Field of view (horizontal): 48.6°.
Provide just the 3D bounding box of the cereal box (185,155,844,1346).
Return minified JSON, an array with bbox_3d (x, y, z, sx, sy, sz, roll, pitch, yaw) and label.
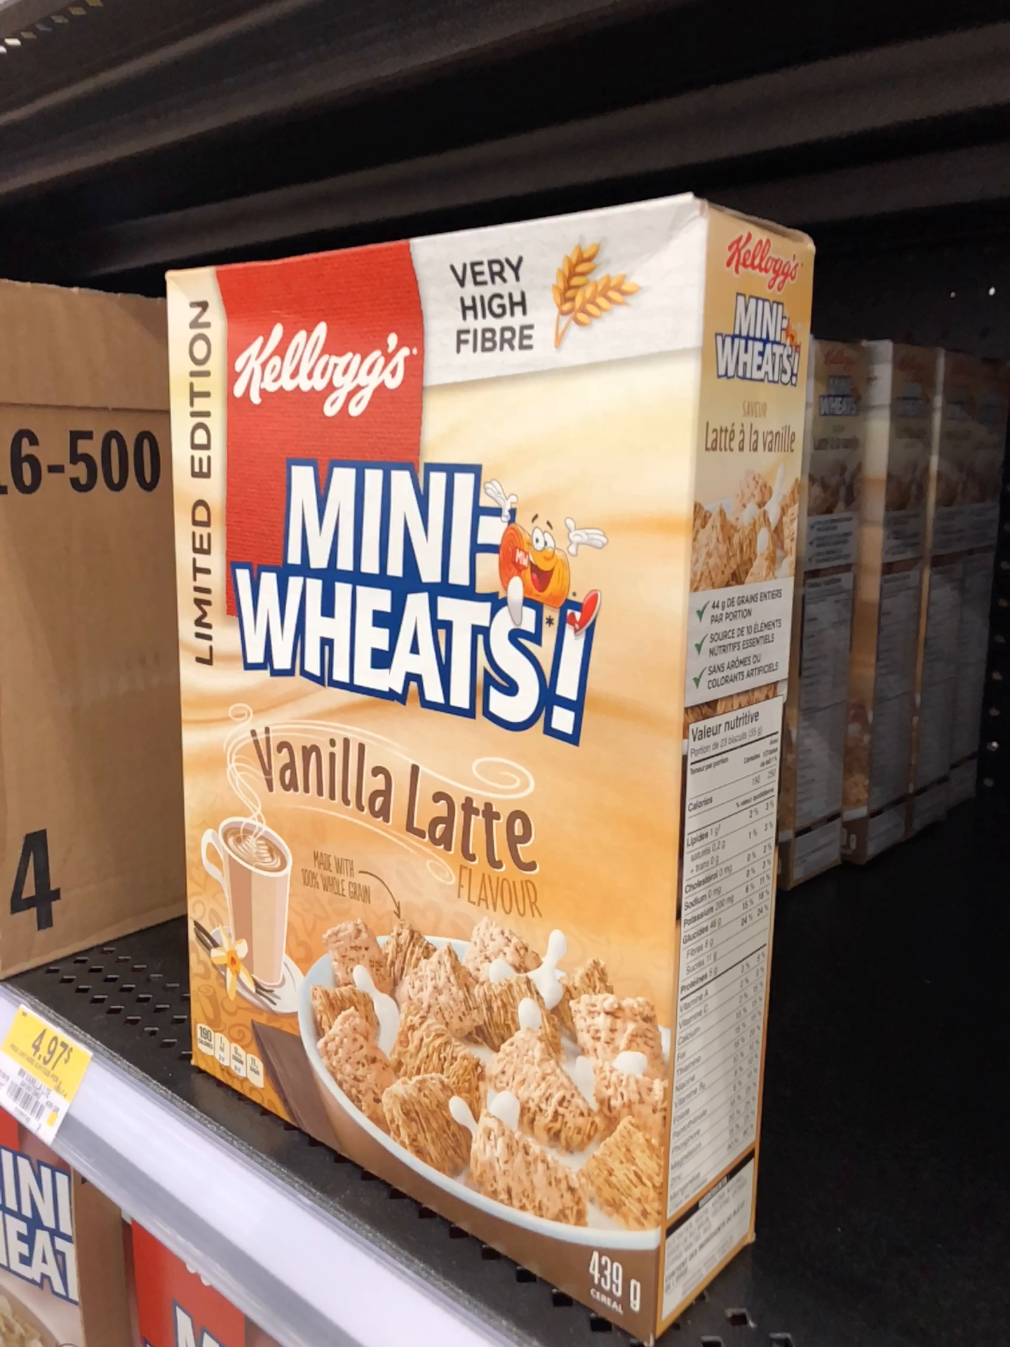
[{"bbox_3d":[-0.012,0.017,0.333,0.190,0.279,0.060,9,12,41],"label":"cereal box"}]
